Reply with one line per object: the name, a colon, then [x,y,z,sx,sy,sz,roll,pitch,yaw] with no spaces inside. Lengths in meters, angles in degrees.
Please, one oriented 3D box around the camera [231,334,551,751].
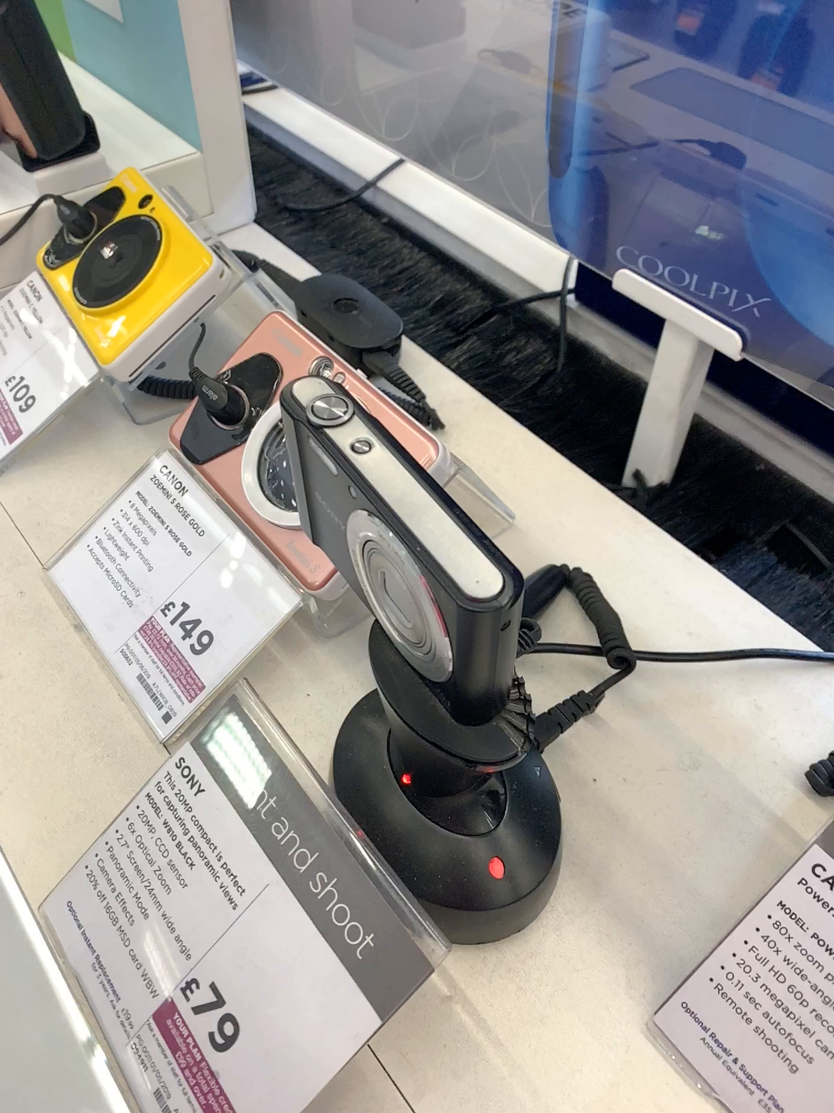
camera: [-0.011,-0.006,0.237,0.030,0.059,0.101,-26,54,-22]
